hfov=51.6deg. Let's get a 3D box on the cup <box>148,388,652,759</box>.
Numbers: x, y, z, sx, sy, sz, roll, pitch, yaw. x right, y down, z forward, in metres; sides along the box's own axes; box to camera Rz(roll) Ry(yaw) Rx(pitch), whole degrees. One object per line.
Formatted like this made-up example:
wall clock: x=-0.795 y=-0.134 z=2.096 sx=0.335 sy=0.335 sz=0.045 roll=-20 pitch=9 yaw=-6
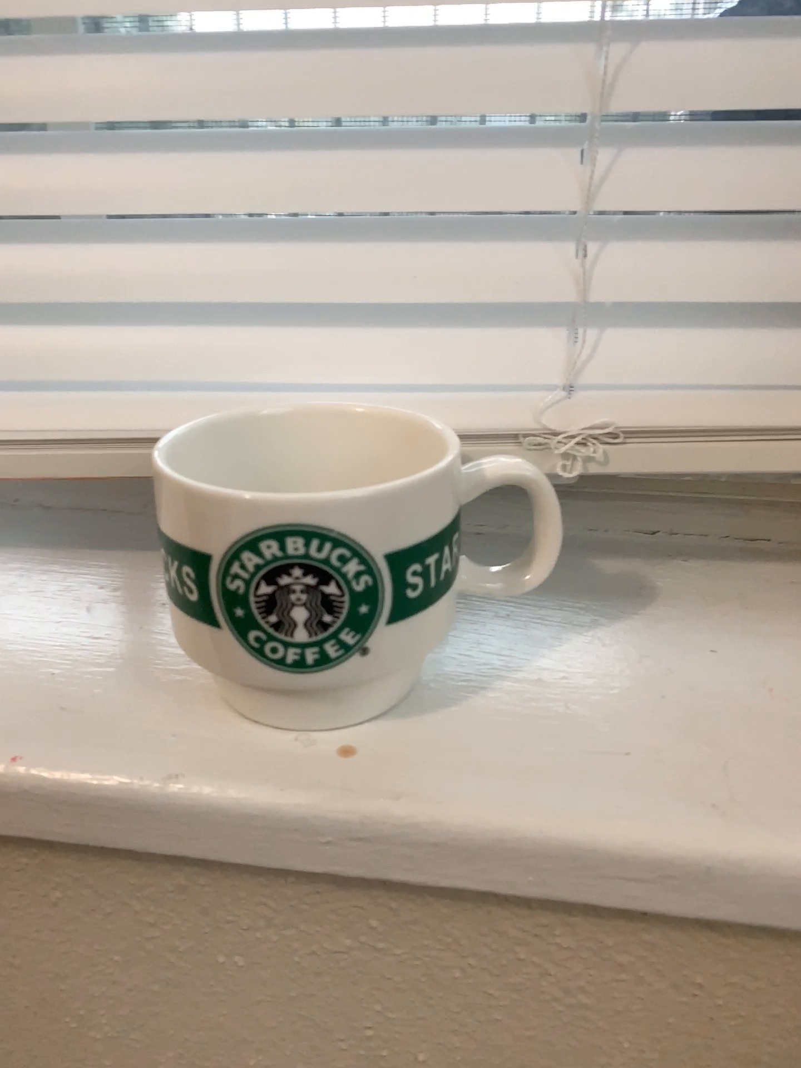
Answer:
cup: x=-0.004 y=0.003 z=0.205 sx=0.100 sy=0.060 sz=0.070 roll=-4 pitch=24 yaw=-10
